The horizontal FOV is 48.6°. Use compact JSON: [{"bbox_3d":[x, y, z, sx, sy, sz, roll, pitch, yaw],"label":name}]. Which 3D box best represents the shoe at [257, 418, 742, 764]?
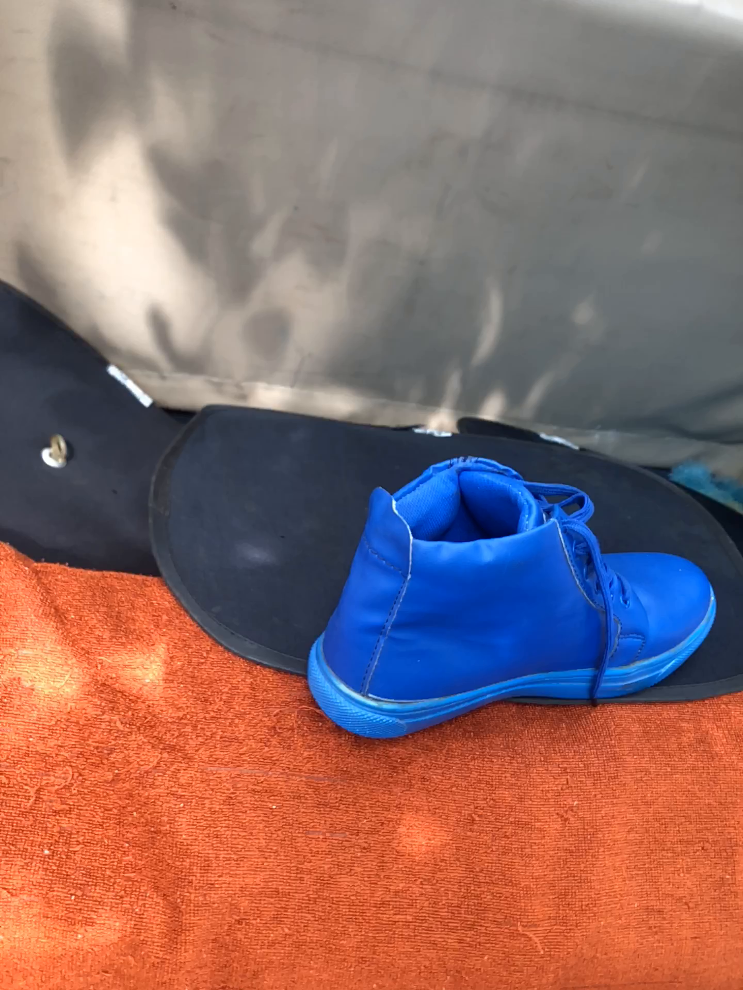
[{"bbox_3d":[0.100,0.042,0.499,0.301,0.119,0.130,-4,38,-25],"label":"shoe"}]
